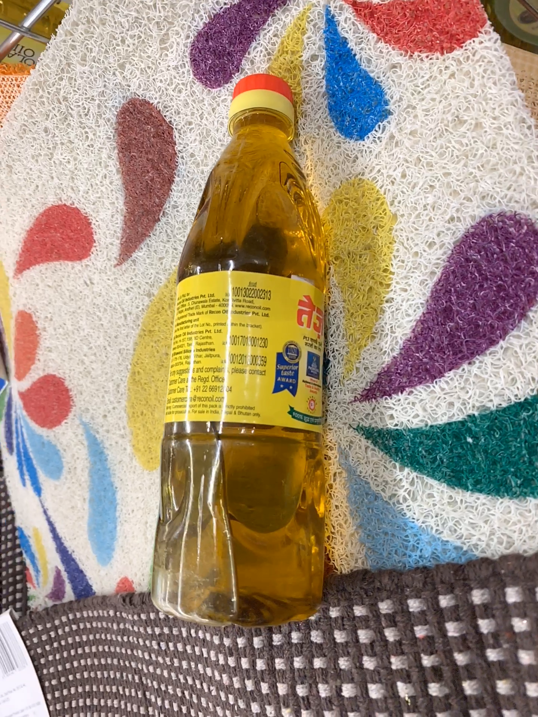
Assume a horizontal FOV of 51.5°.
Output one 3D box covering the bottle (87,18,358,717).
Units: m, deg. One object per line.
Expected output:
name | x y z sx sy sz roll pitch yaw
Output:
bottle | -0.013 0.001 0.203 0.070 0.060 0.200 -3 82 35
